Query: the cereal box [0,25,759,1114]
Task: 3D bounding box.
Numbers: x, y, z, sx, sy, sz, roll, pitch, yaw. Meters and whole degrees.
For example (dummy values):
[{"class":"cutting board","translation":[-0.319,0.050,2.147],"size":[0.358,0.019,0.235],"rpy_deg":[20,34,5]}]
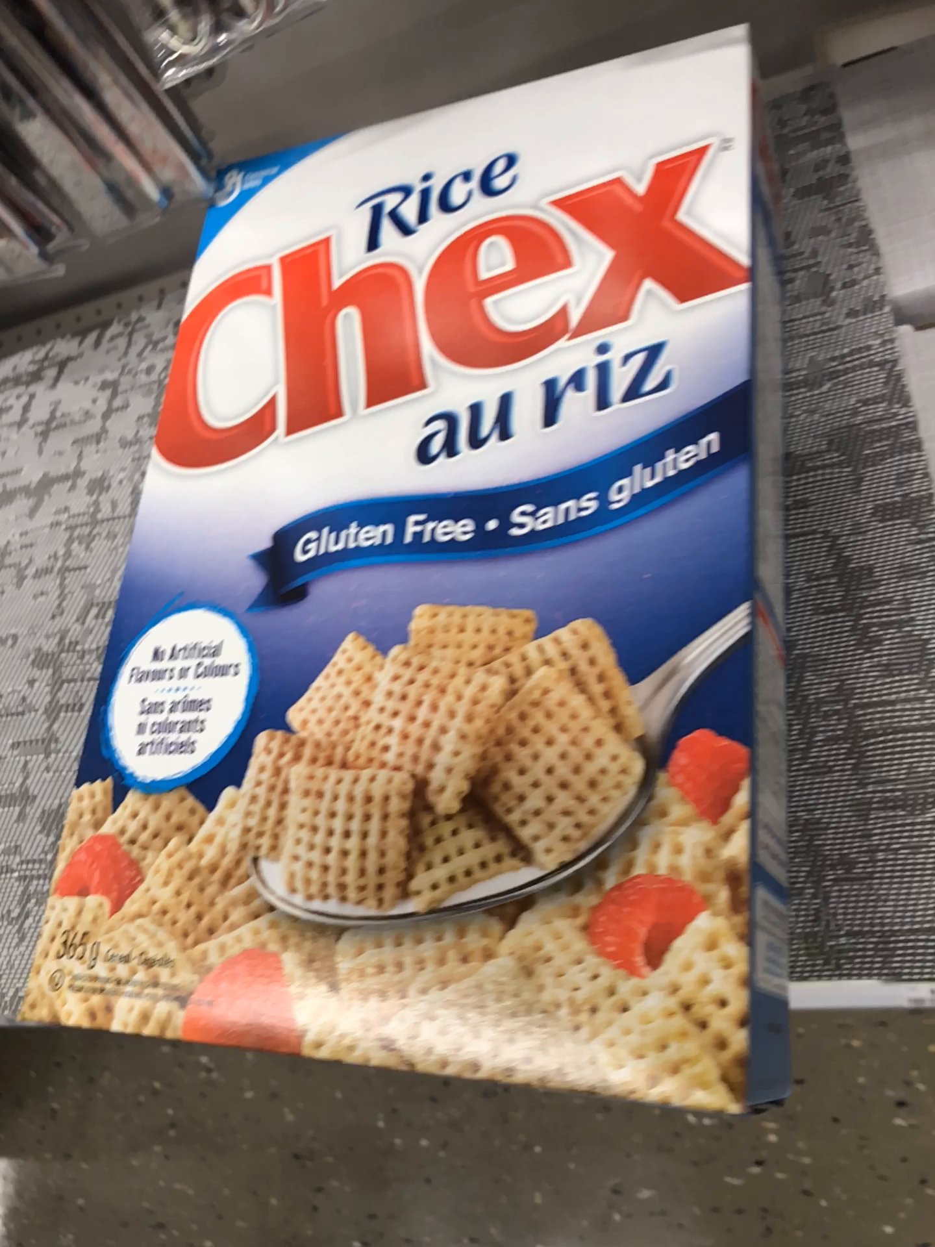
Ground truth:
[{"class":"cereal box","translation":[-0.021,-0.024,0.331],"size":[0.210,0.070,0.300],"rpy_deg":[-3,67,22]}]
